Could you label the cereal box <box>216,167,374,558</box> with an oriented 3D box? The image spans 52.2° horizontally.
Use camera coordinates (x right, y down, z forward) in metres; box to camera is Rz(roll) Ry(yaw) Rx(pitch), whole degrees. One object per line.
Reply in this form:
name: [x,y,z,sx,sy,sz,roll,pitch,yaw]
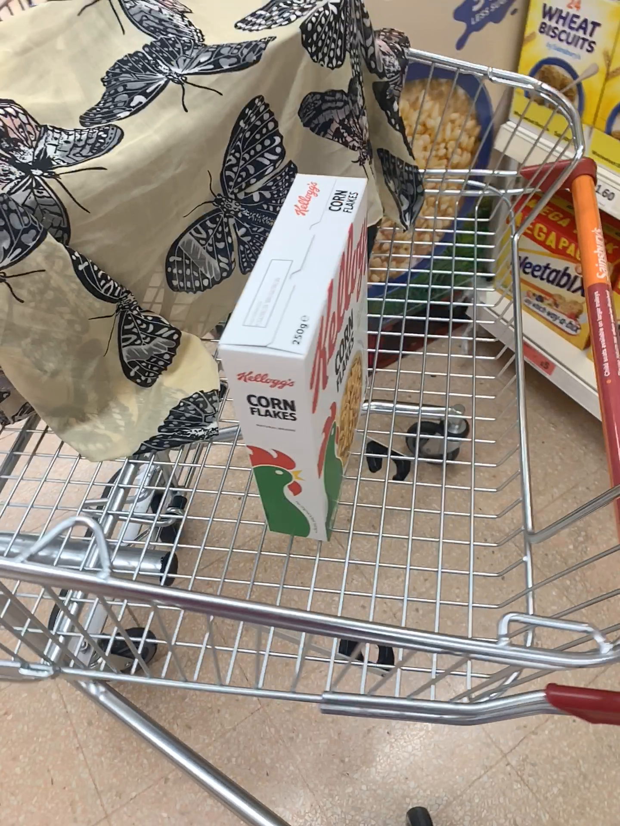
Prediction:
cereal box: [0.003,-0.034,0.512,0.060,0.238,0.202,8,51,10]
